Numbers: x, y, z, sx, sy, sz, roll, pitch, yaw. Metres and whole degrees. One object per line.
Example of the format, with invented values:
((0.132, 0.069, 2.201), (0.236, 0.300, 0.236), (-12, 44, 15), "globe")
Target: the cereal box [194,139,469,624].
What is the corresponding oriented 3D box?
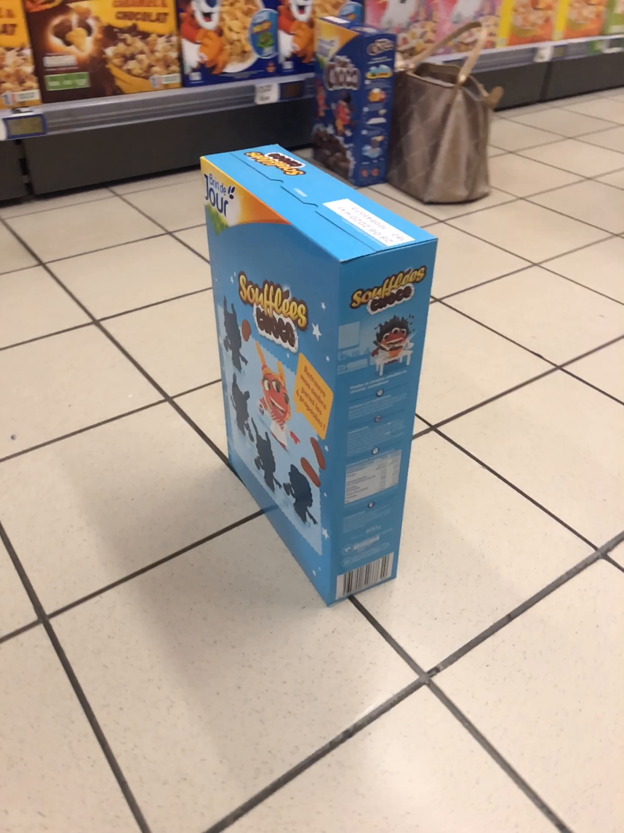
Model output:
((-0.002, -0.026, 0.511), (0.080, 0.288, 0.201), (-17, 40, -24), "cereal box")
